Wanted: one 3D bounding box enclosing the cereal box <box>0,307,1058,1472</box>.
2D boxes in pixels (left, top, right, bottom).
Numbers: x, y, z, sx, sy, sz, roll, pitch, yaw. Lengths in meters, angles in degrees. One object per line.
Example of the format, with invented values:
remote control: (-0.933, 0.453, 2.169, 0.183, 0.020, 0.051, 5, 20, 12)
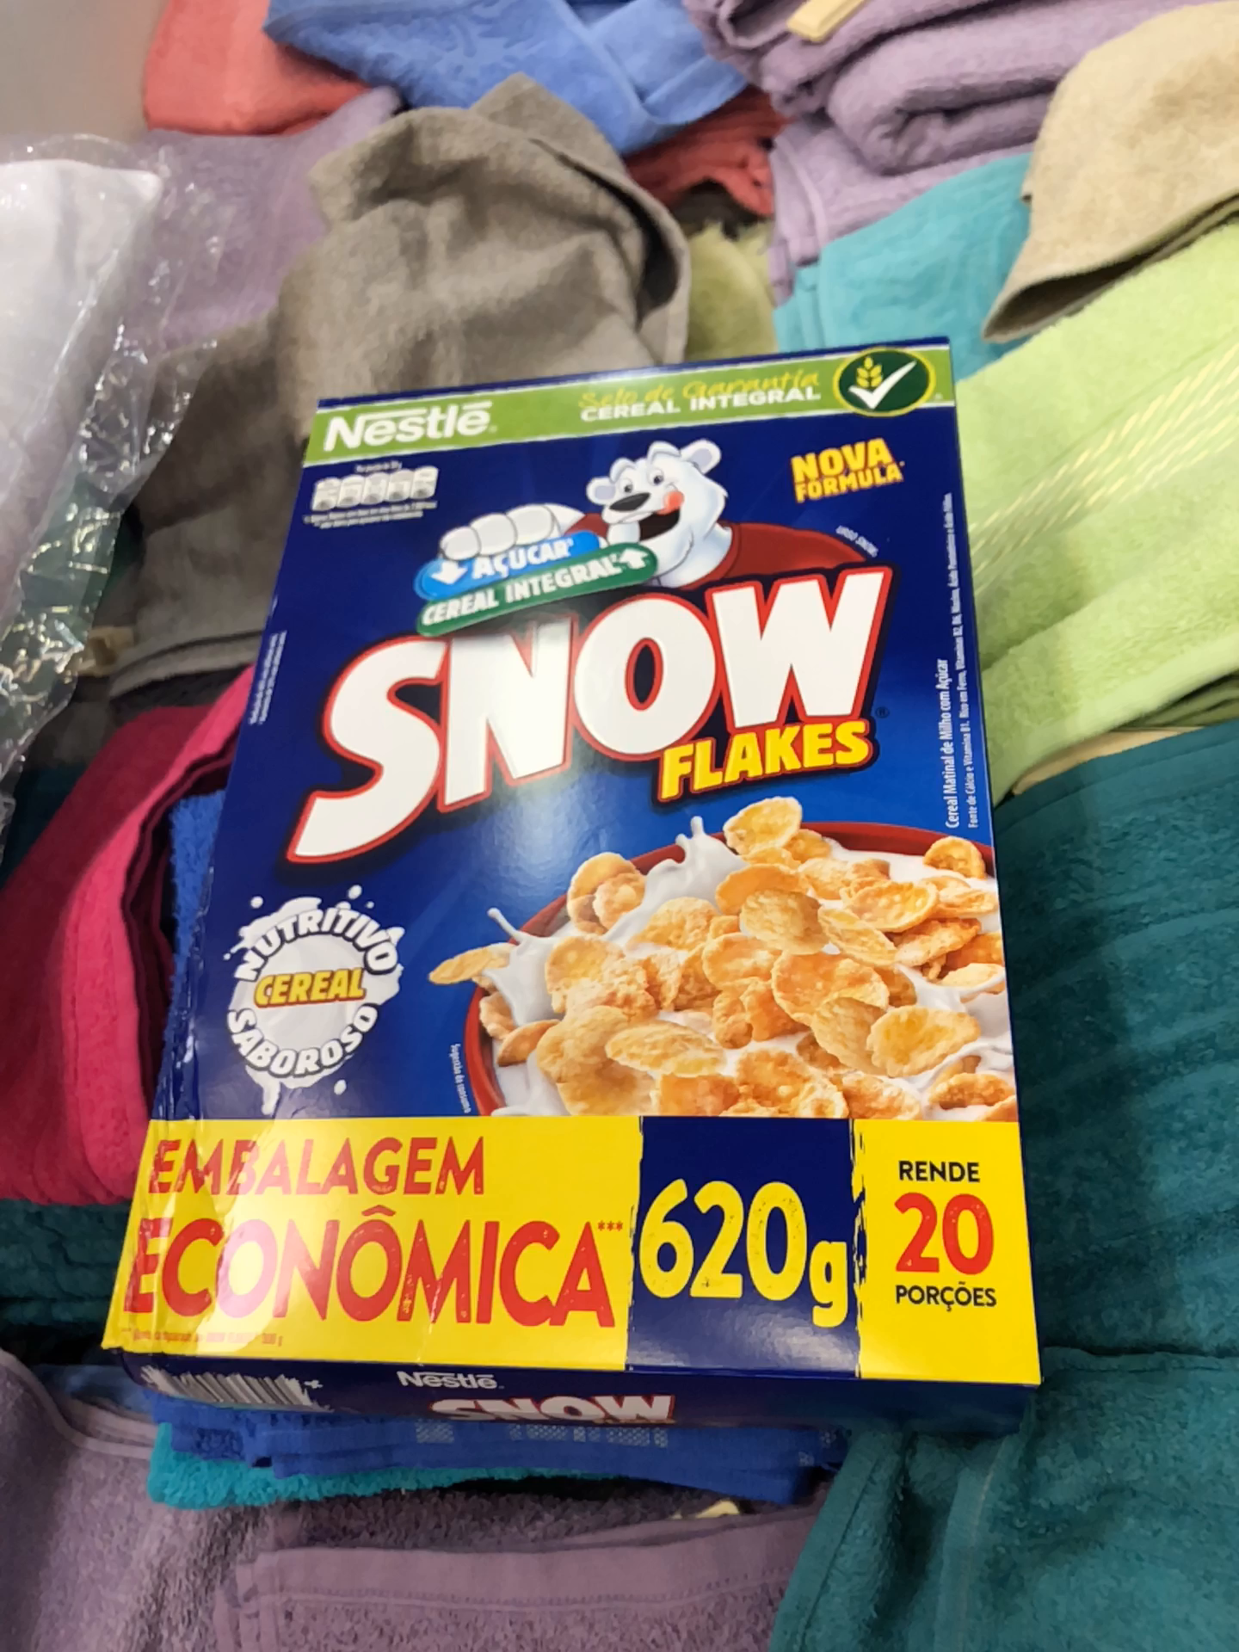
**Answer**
cereal box: (-0.011, 0.000, 0.376, 0.220, 0.070, 0.302, -3, 58, 13)
